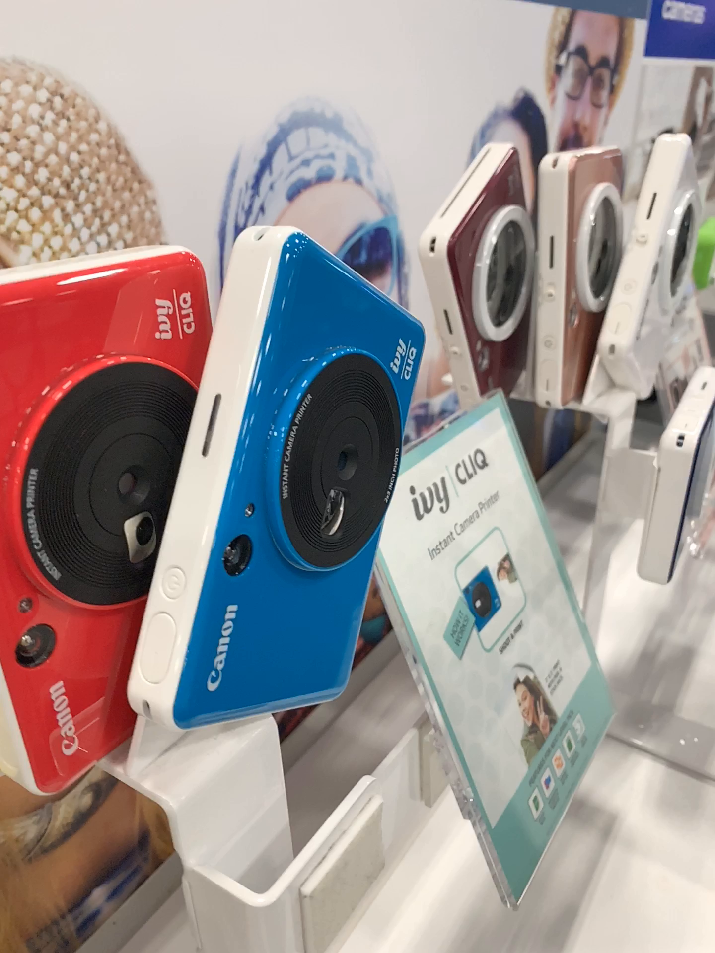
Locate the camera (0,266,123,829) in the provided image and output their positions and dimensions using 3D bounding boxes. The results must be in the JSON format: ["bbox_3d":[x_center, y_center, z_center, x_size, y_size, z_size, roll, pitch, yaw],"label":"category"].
[{"bbox_3d":[-0.115,0.026,0.171,0.030,0.123,0.068,22,61,30],"label":"camera"}]

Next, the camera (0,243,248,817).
[{"bbox_3d":[-0.065,0.011,0.186,0.030,0.123,0.067,19,31,33],"label":"camera"}]

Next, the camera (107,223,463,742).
[{"bbox_3d":[-0.013,0.004,0.202,0.030,0.114,0.077,13,-3,30],"label":"camera"}]
